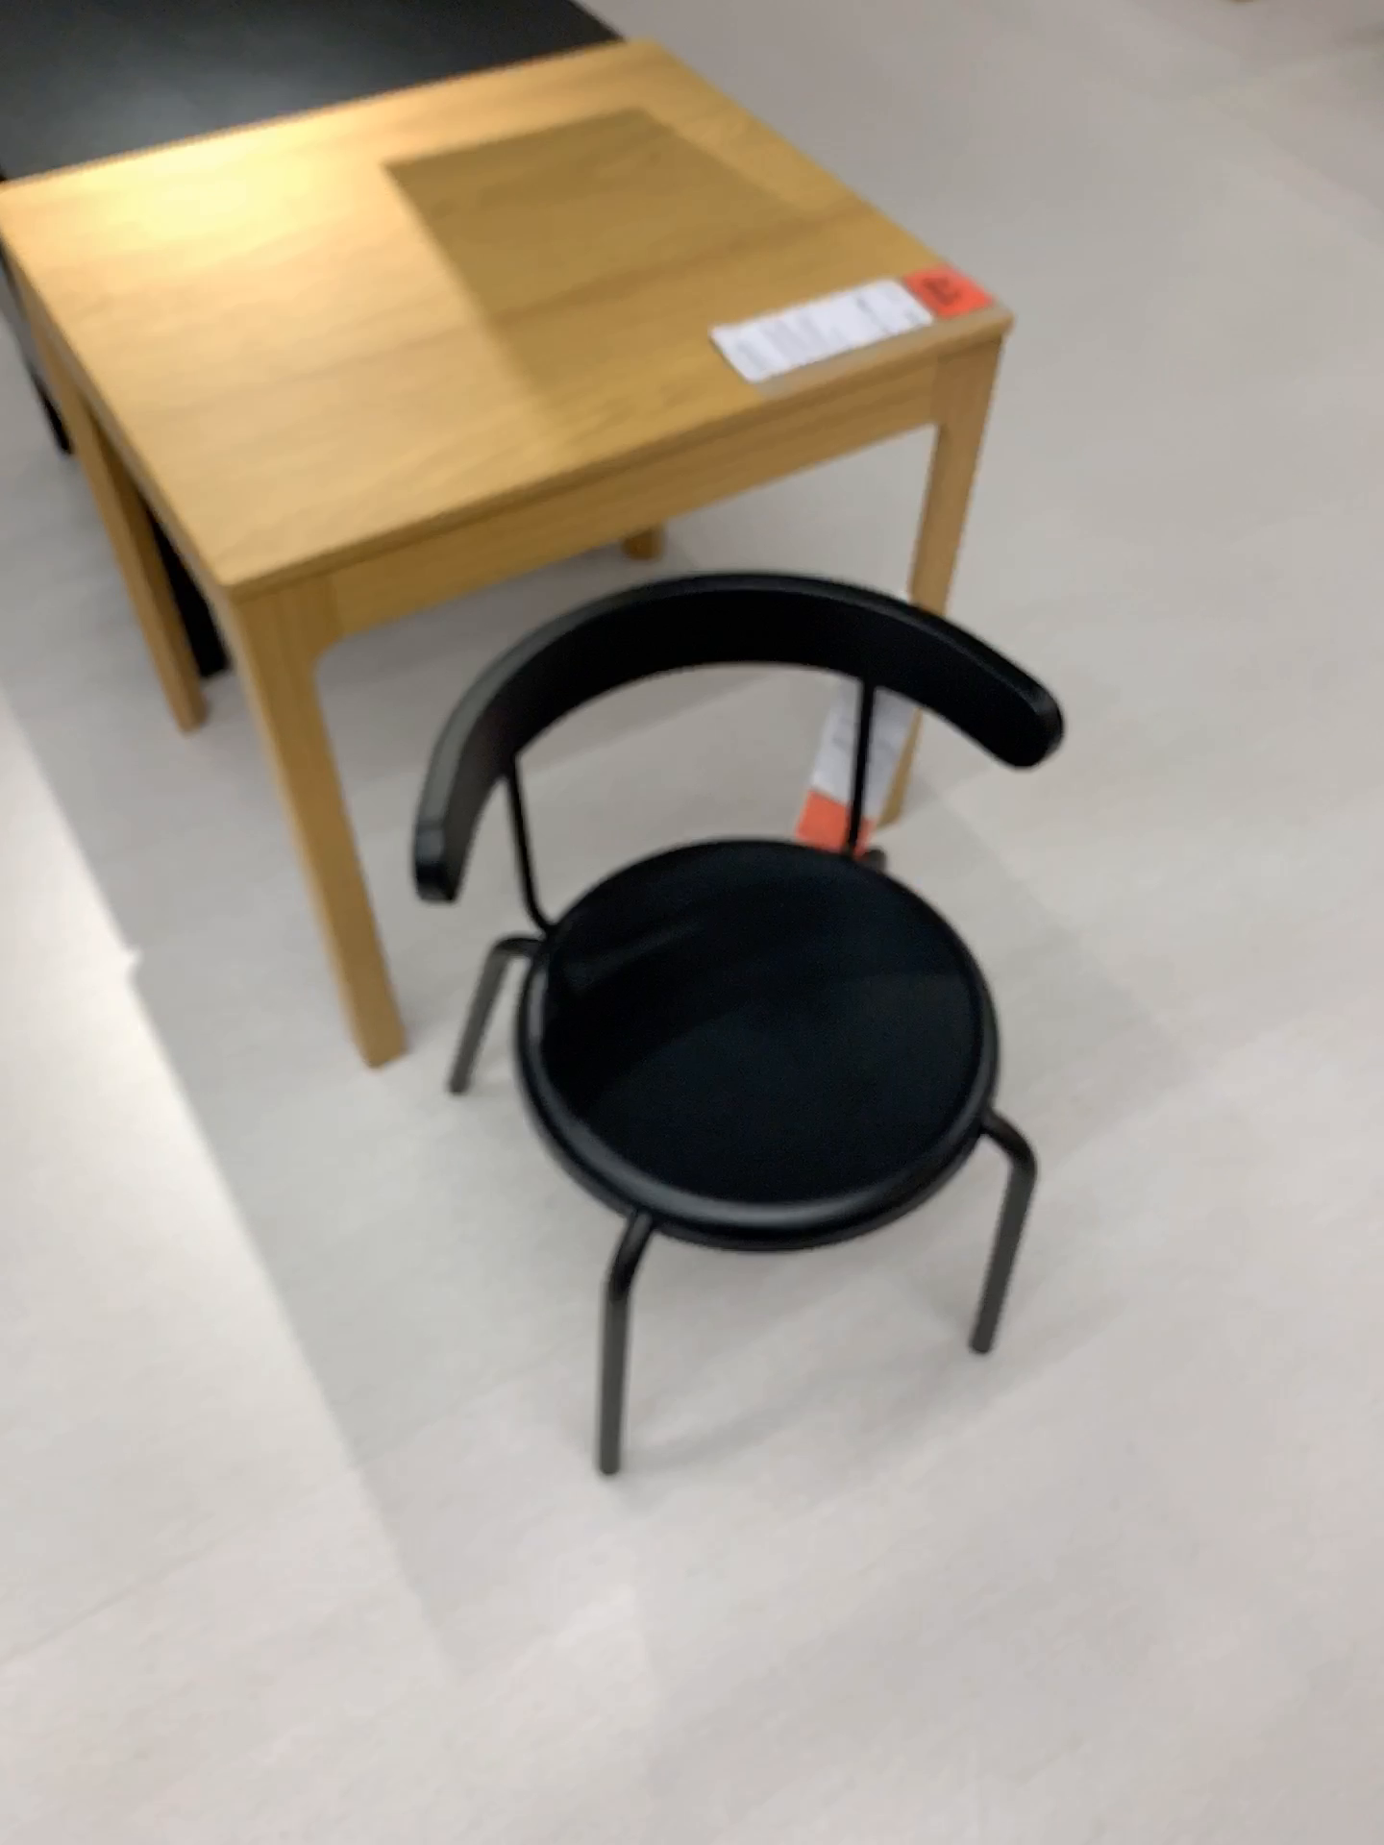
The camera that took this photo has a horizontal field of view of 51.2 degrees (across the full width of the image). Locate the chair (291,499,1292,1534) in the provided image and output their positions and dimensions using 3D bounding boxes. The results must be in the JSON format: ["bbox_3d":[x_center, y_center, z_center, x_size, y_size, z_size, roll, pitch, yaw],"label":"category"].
[{"bbox_3d":[0.029,0.090,1.342,0.590,0.598,0.612,-14,55,-12],"label":"chair"}]
